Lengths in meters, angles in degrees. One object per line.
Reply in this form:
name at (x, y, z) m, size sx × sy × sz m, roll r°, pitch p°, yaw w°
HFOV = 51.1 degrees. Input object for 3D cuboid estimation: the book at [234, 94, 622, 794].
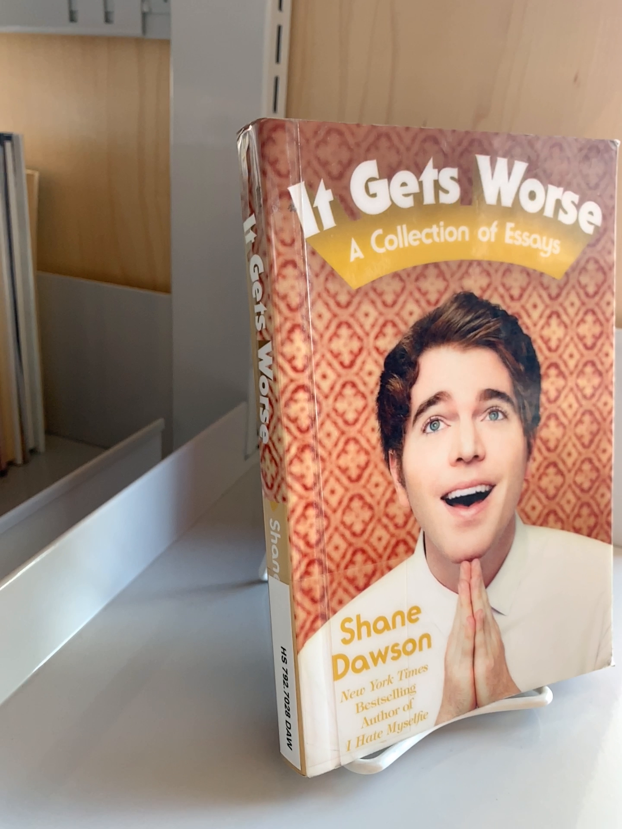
book at (0.053, 0.007, 0.238) m, size 0.149 × 0.210 × 0.030 m, roll -7°, pitch 10°, yaw -27°
